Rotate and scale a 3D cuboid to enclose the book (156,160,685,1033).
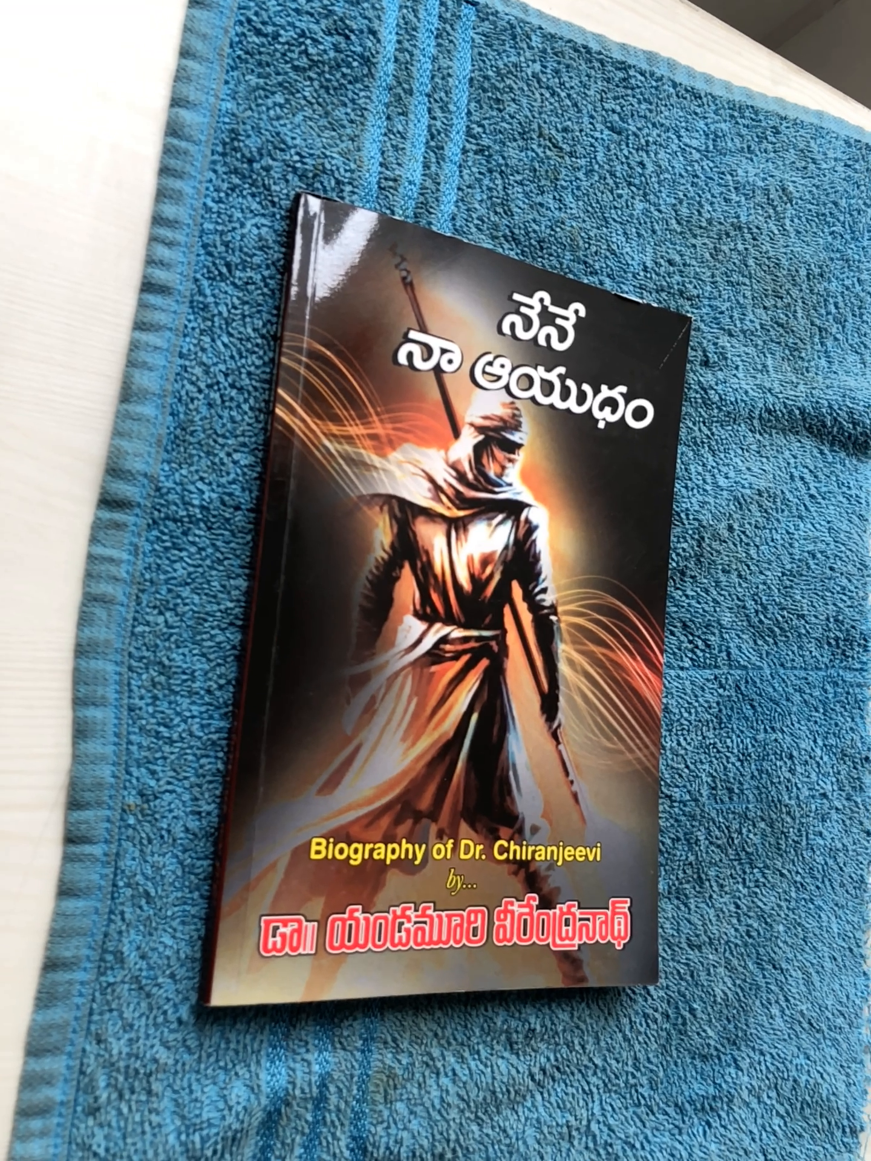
[{"bbox_3d":[0.006,0.008,0.286,0.140,0.030,0.220,10,80,-28],"label":"book"}]
